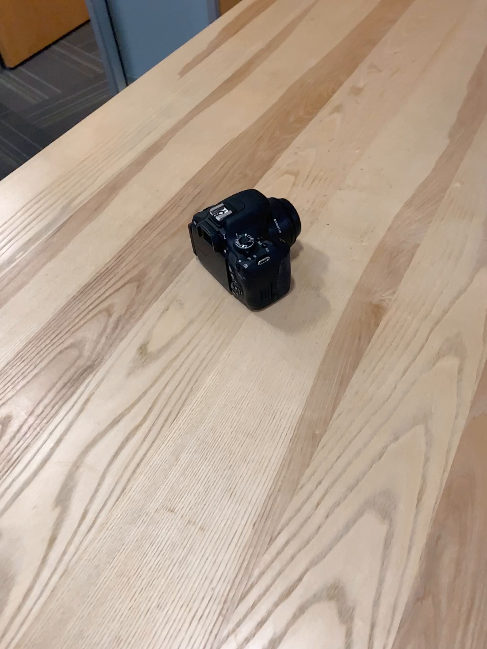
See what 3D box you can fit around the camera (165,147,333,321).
[{"bbox_3d":[0.007,-0.109,0.578,0.120,0.100,0.145,-32,54,-19],"label":"camera"}]
